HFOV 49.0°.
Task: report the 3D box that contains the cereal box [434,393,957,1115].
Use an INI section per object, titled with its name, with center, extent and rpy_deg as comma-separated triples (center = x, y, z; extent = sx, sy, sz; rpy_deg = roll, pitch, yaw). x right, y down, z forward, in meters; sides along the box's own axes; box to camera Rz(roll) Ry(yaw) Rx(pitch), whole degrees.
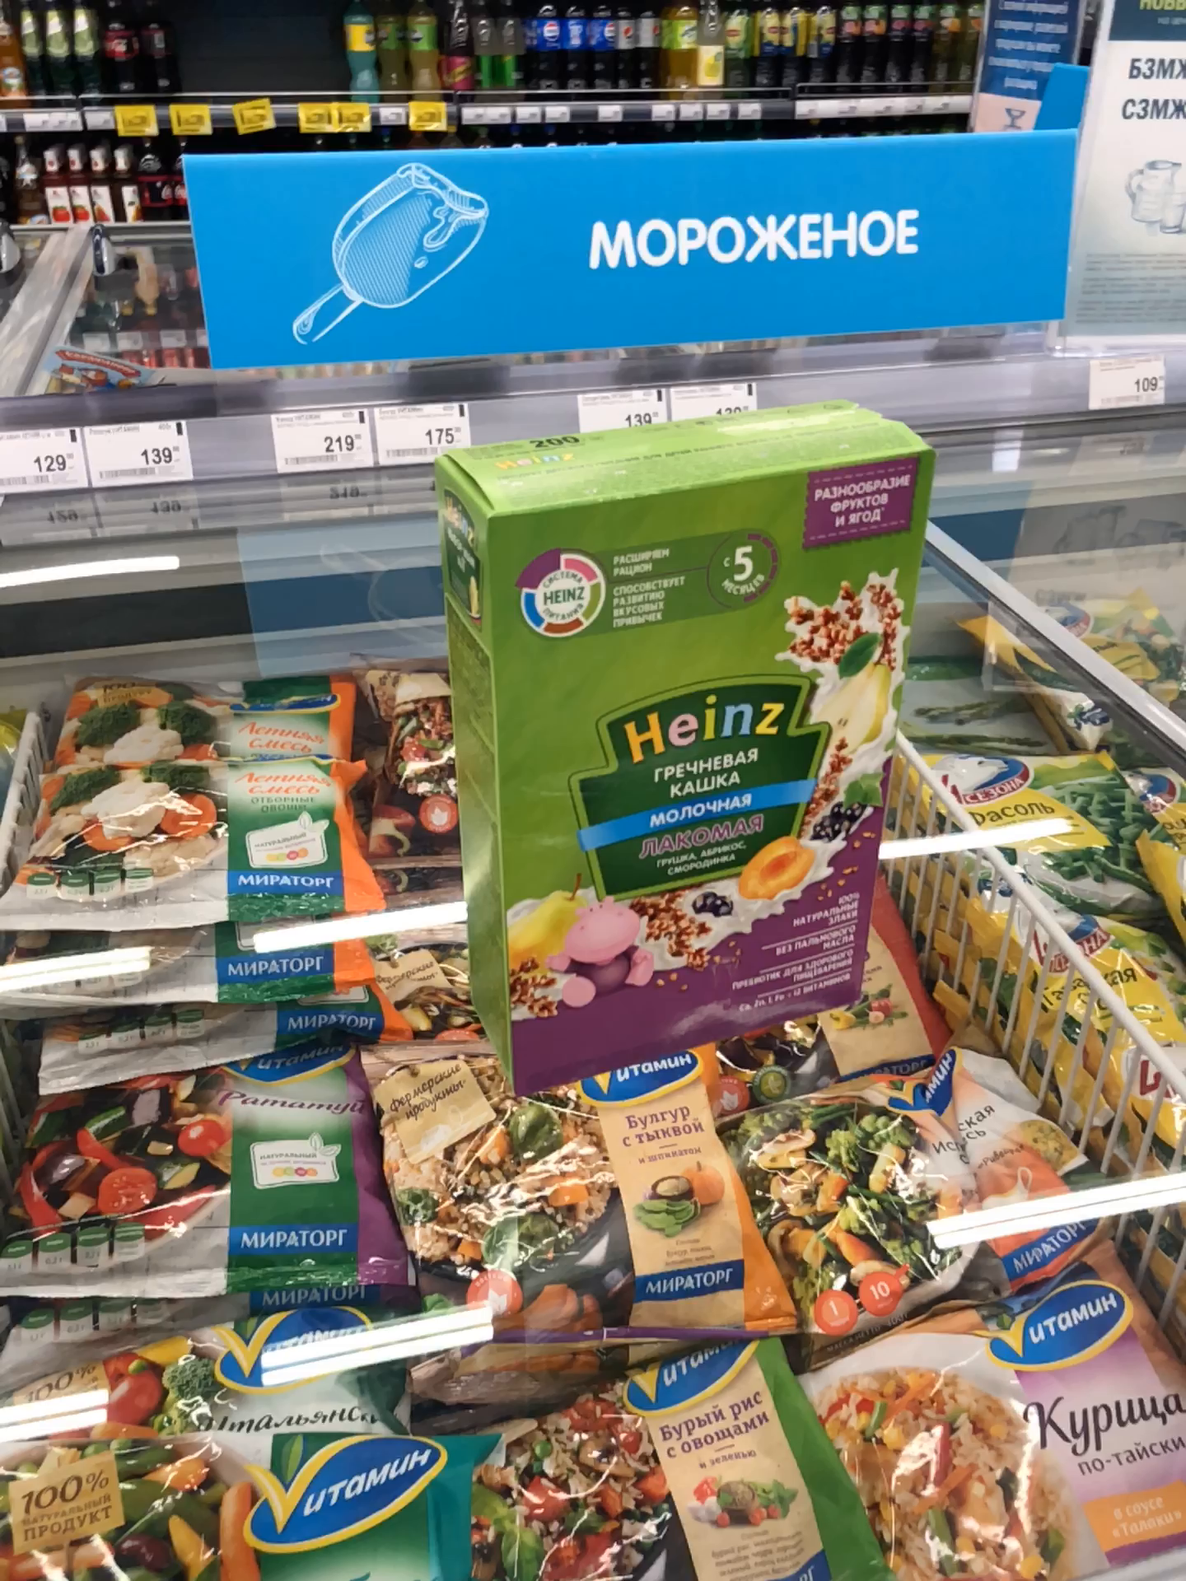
[cereal box]
center = 0.028, -0.008, 0.398
extent = 0.130, 0.199, 0.050
rpy_deg = -12, 34, -19
